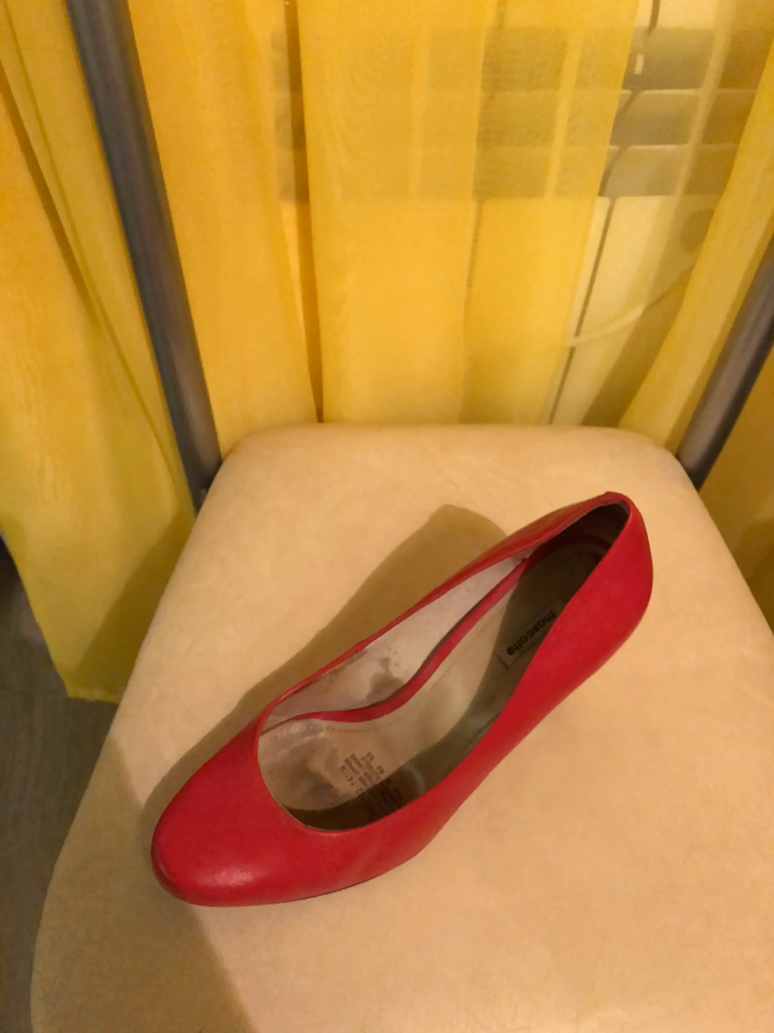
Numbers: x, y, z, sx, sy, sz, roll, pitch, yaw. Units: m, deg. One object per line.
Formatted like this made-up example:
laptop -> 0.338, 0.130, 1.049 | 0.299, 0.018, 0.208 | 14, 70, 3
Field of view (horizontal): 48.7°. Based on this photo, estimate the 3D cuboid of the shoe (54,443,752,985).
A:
shoe -> 0.009, 0.079, 0.345 | 0.230, 0.129, 0.080 | -22, 59, -18
